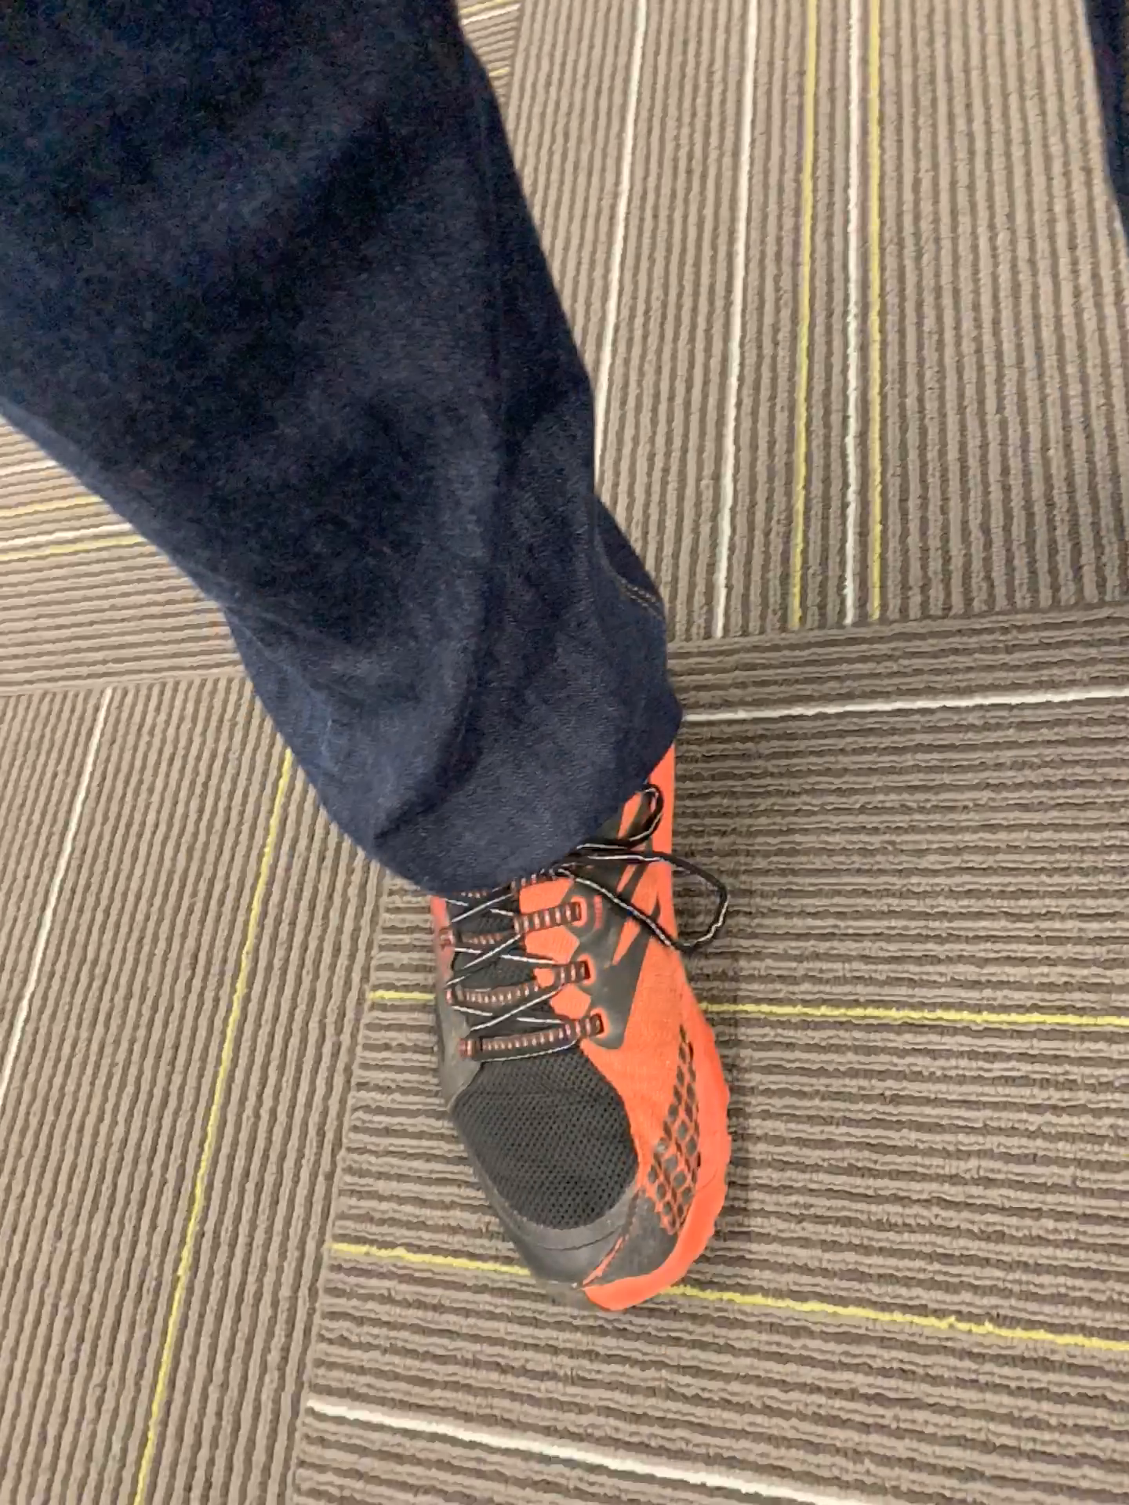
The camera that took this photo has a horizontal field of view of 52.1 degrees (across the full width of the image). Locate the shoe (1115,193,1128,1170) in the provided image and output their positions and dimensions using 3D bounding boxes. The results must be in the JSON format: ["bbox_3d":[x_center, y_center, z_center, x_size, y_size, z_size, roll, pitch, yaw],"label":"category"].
[{"bbox_3d":[0.340,-0.033,0.398,0.130,0.100,0.301,-28,60,9],"label":"shoe"}]

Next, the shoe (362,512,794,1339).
[{"bbox_3d":[-0.001,0.072,0.515,0.120,0.119,0.321,-16,63,16],"label":"shoe"}]
